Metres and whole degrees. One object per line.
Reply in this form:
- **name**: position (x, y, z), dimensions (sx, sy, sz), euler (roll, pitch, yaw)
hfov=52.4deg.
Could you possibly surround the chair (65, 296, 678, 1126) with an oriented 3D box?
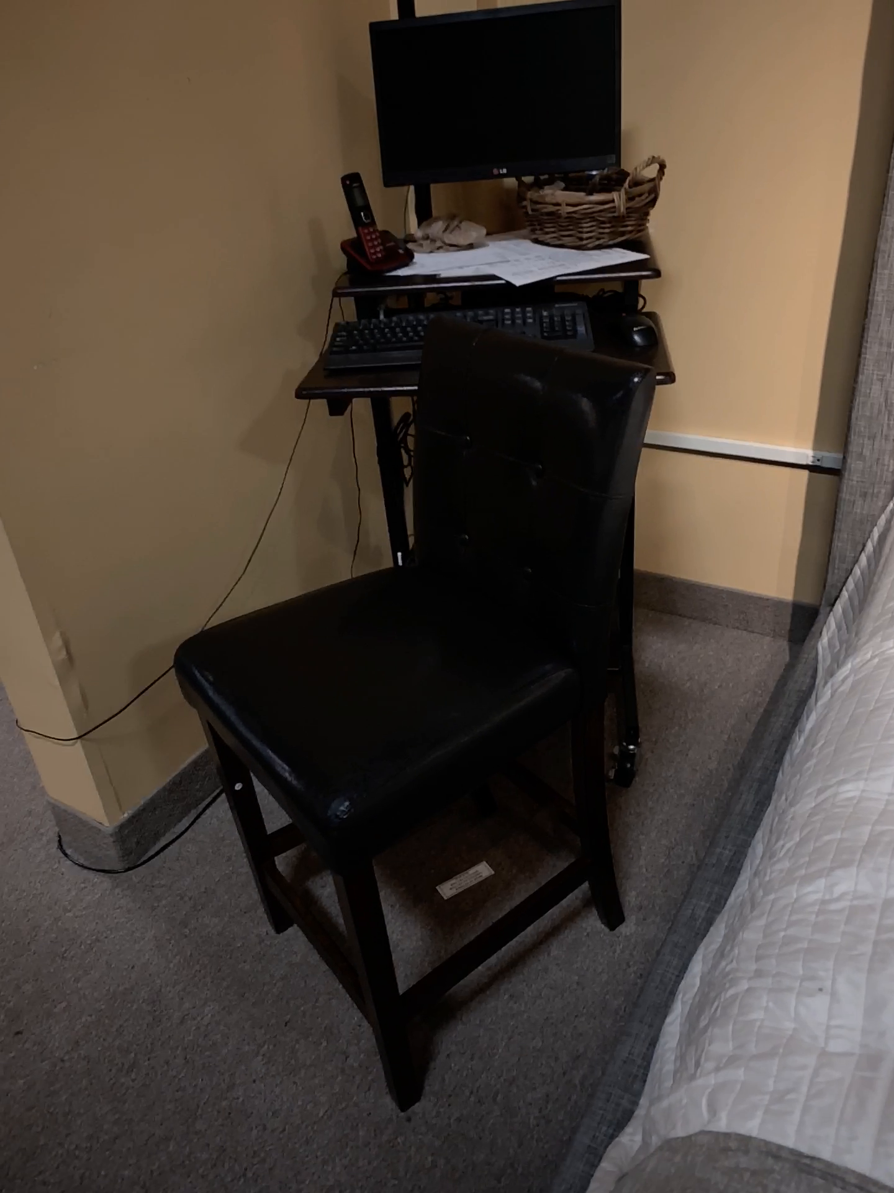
- **chair**: position (-0.081, 0.125, 1.317), dimensions (0.518, 0.912, 0.560), euler (-24, 36, -28)
